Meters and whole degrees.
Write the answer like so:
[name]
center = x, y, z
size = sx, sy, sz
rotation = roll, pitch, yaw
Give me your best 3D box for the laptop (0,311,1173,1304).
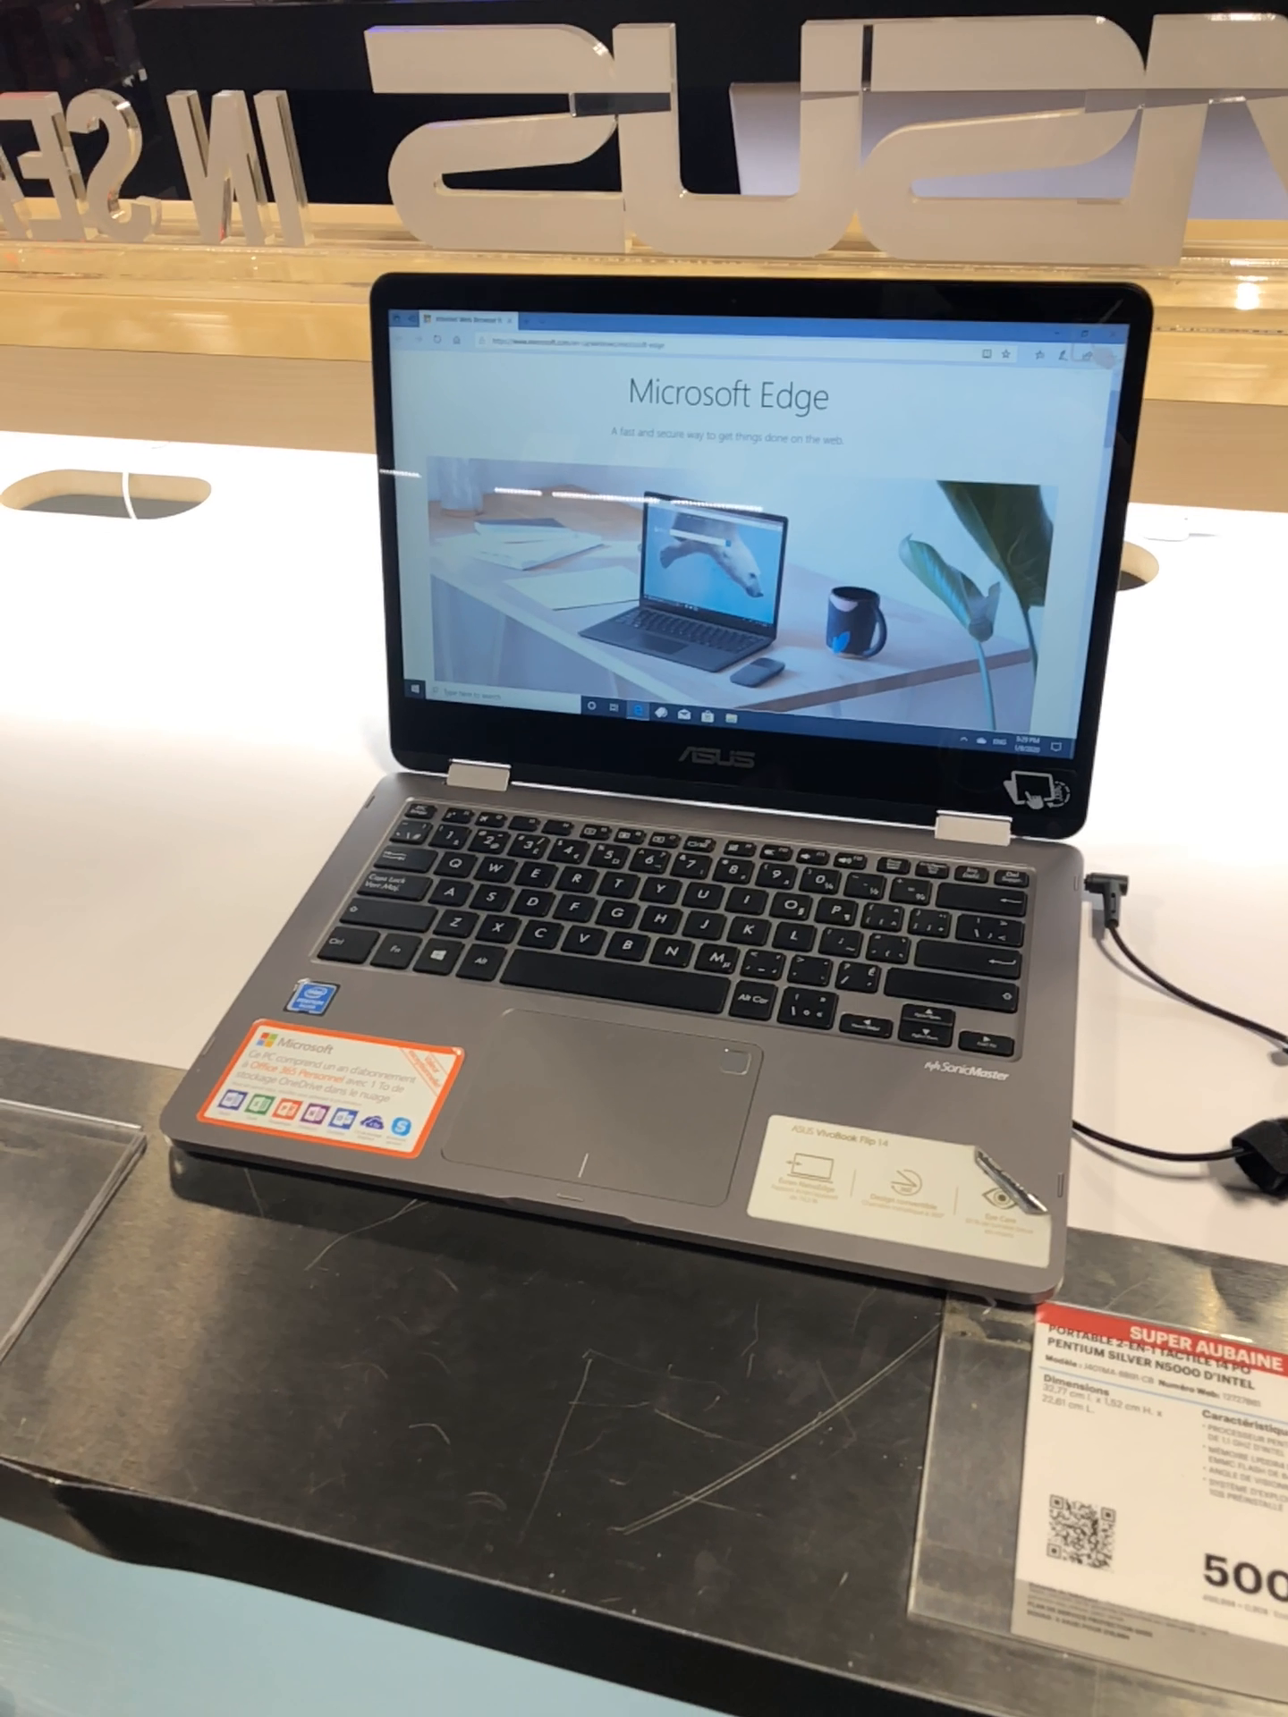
[laptop]
center = 0.007, -0.048, 0.501
size = 0.305, 0.212, 0.279
rotation = 7, 38, 16
